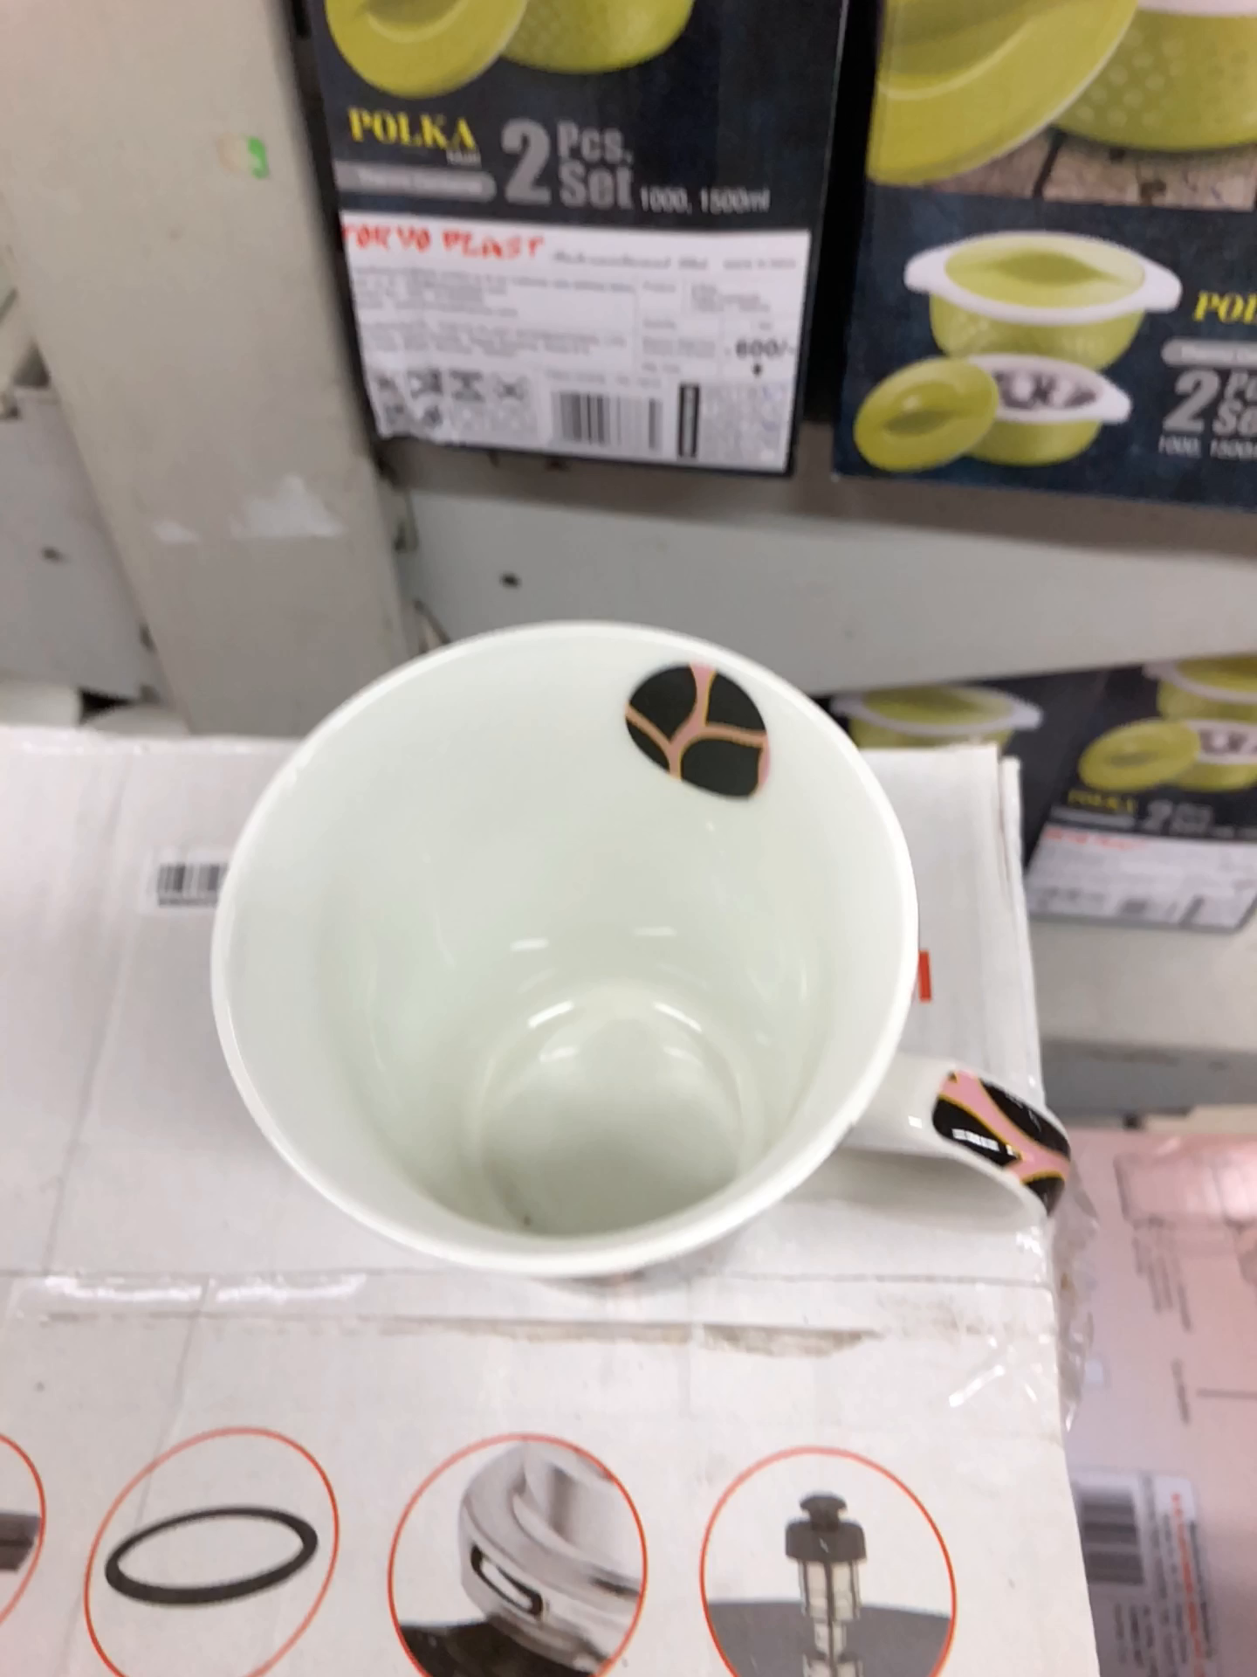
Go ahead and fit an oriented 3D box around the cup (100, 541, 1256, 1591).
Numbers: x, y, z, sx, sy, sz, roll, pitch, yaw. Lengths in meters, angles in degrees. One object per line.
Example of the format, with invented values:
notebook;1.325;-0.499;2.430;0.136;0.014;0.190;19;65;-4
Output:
cup;0.013;0.031;0.195;0.110;0.080;0.090;16;61;13
